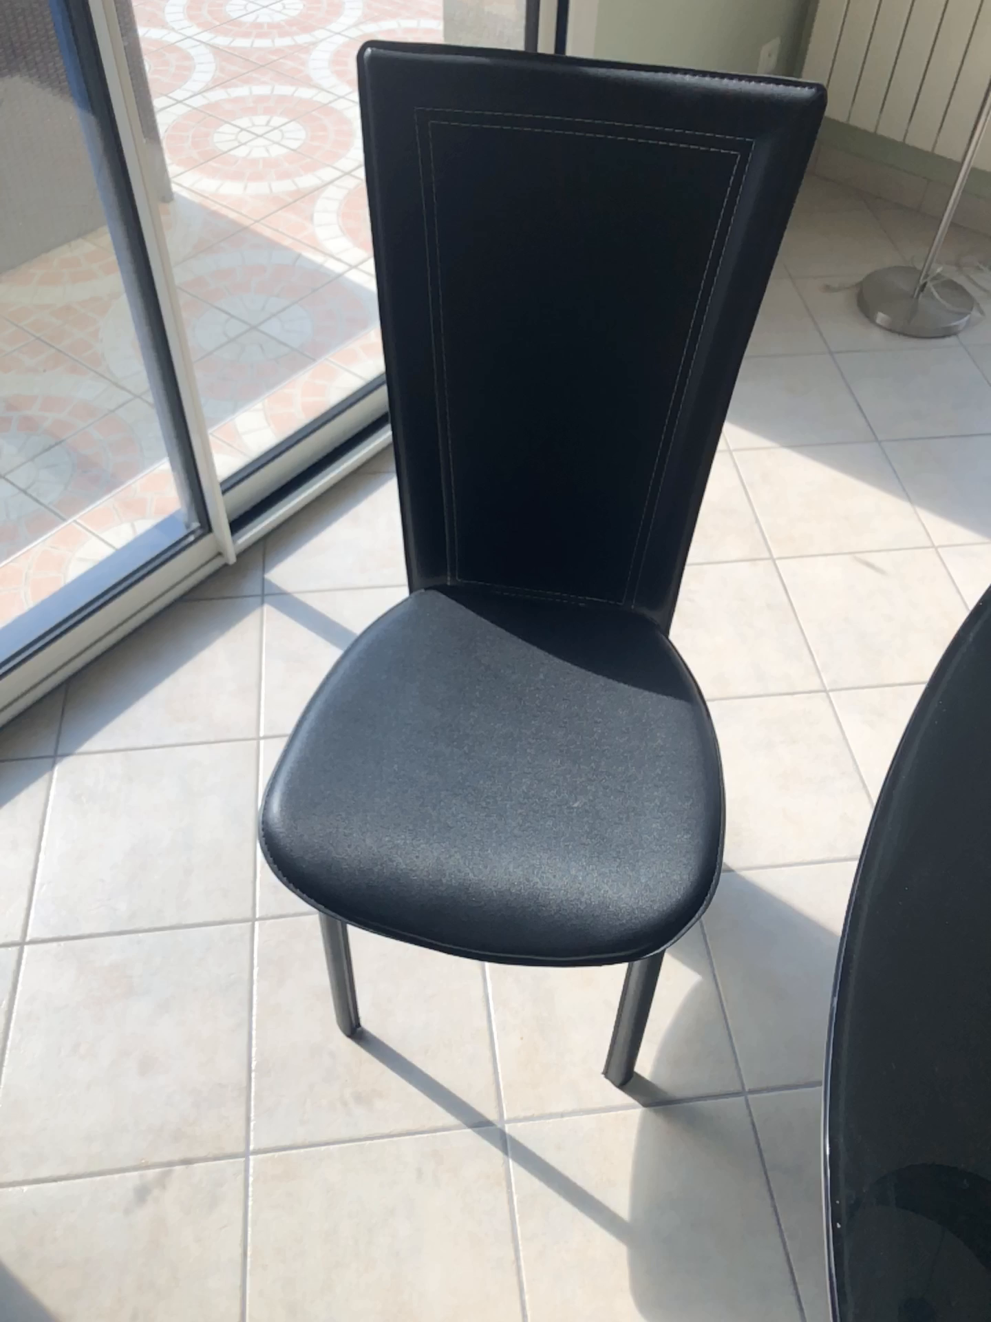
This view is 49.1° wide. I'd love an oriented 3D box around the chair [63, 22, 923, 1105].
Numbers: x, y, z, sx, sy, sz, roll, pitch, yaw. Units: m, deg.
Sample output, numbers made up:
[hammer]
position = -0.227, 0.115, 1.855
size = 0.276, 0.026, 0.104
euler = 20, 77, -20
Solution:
[chair]
position = 0.019, -0.022, 1.060
size = 0.450, 0.895, 0.503
euler = 8, 48, 5
